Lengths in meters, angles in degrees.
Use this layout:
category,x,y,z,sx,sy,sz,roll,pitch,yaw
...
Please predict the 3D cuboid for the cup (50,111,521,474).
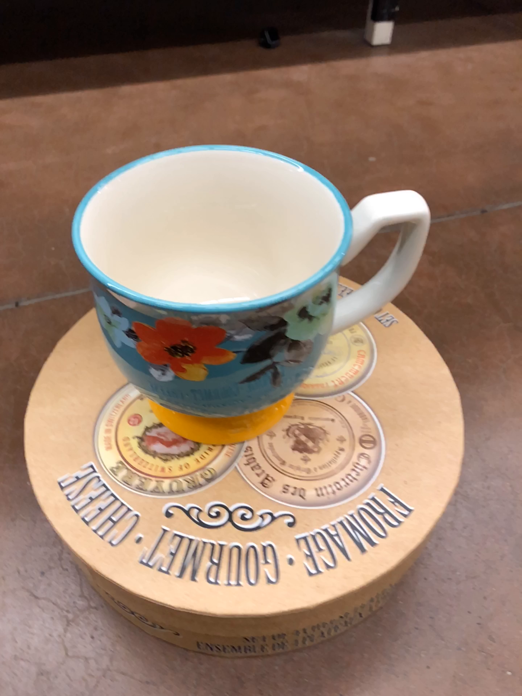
category,x,y,z,sx,sy,sz,roll,pitch,yaw
cup,0.001,-0.026,0.228,0.140,0.080,0.090,-11,47,-11
